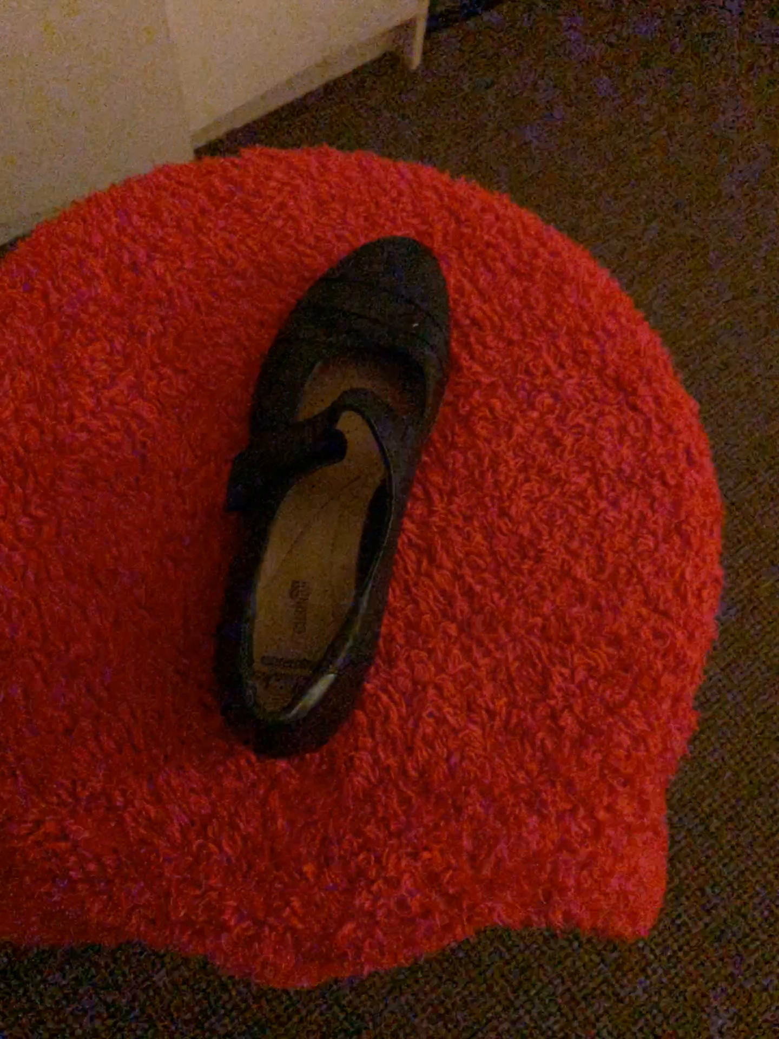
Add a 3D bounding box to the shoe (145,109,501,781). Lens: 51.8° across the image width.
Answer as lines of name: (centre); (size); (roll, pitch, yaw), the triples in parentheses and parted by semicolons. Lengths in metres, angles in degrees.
shoe: (-0.020, -0.035, 0.358); (0.092, 0.080, 0.275); (10, 72, -1)
